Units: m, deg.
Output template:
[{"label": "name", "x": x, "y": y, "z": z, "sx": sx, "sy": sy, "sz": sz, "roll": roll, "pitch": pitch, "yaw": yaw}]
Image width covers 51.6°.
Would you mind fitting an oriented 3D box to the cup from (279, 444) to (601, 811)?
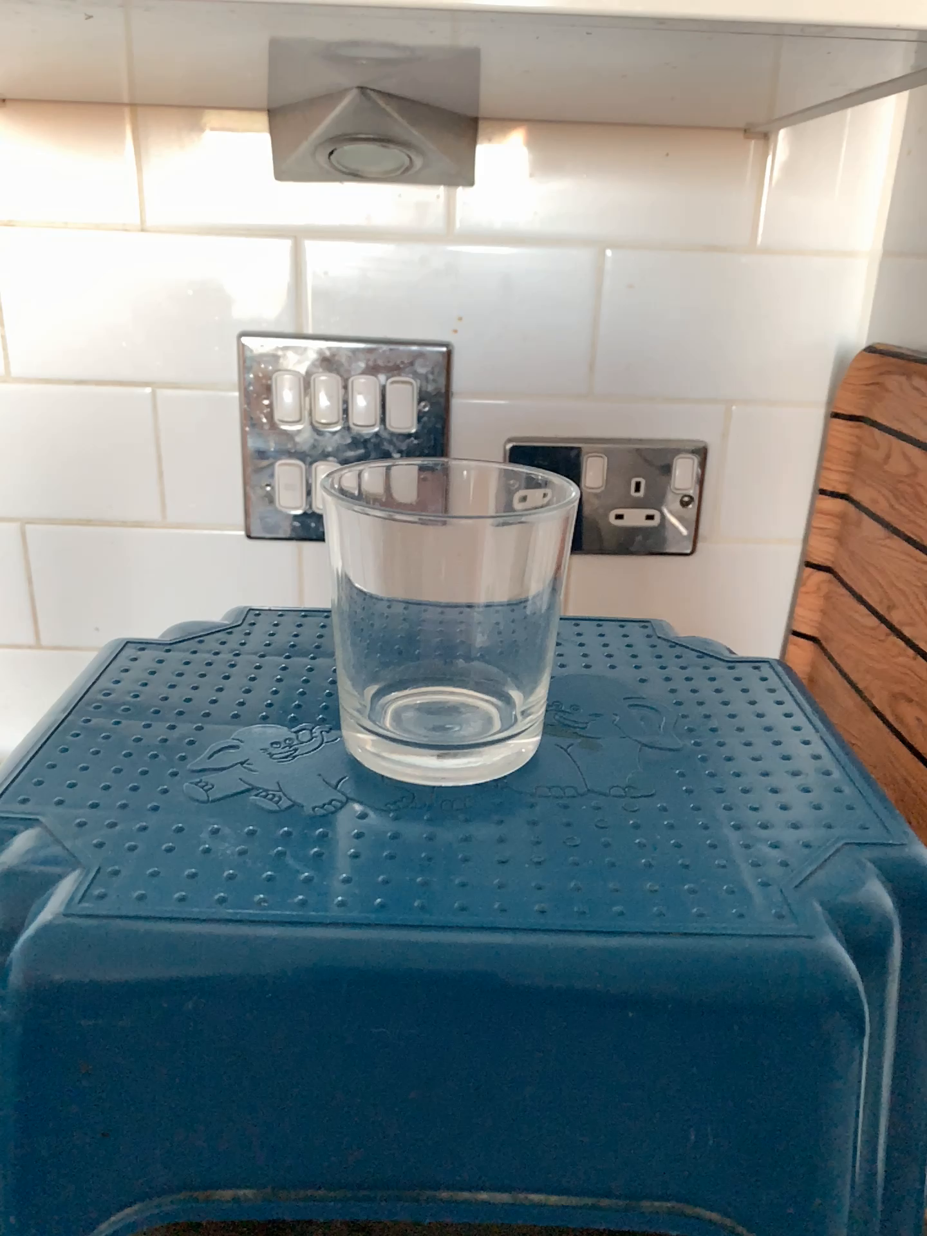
[{"label": "cup", "x": -0.006, "y": -0.002, "z": 0.298, "sx": 0.076, "sy": 0.085, "sz": 0.067, "roll": 9, "pitch": 22, "yaw": 18}]
